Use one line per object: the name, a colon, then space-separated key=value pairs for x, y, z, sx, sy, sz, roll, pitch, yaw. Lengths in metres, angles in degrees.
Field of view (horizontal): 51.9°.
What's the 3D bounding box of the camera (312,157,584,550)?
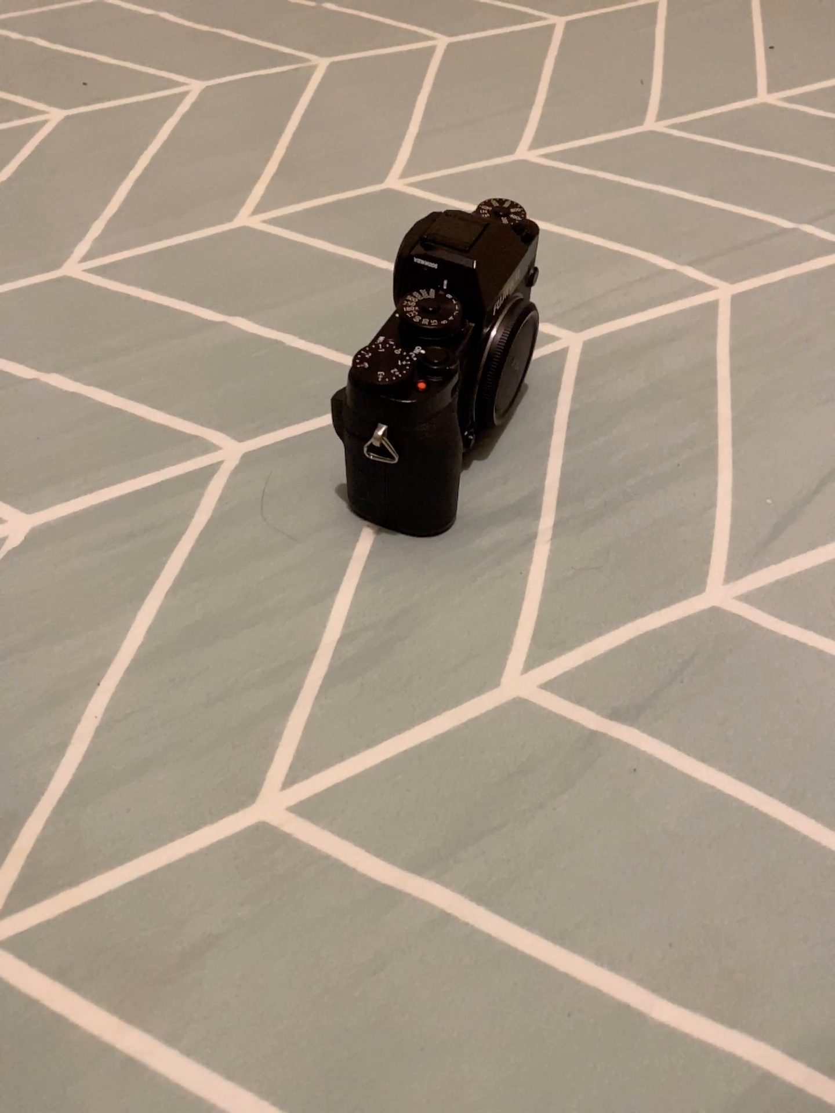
camera: x=0.015 y=-0.084 z=0.349 sx=0.051 sy=0.087 sz=0.131 roll=22 pitch=55 yaw=13
